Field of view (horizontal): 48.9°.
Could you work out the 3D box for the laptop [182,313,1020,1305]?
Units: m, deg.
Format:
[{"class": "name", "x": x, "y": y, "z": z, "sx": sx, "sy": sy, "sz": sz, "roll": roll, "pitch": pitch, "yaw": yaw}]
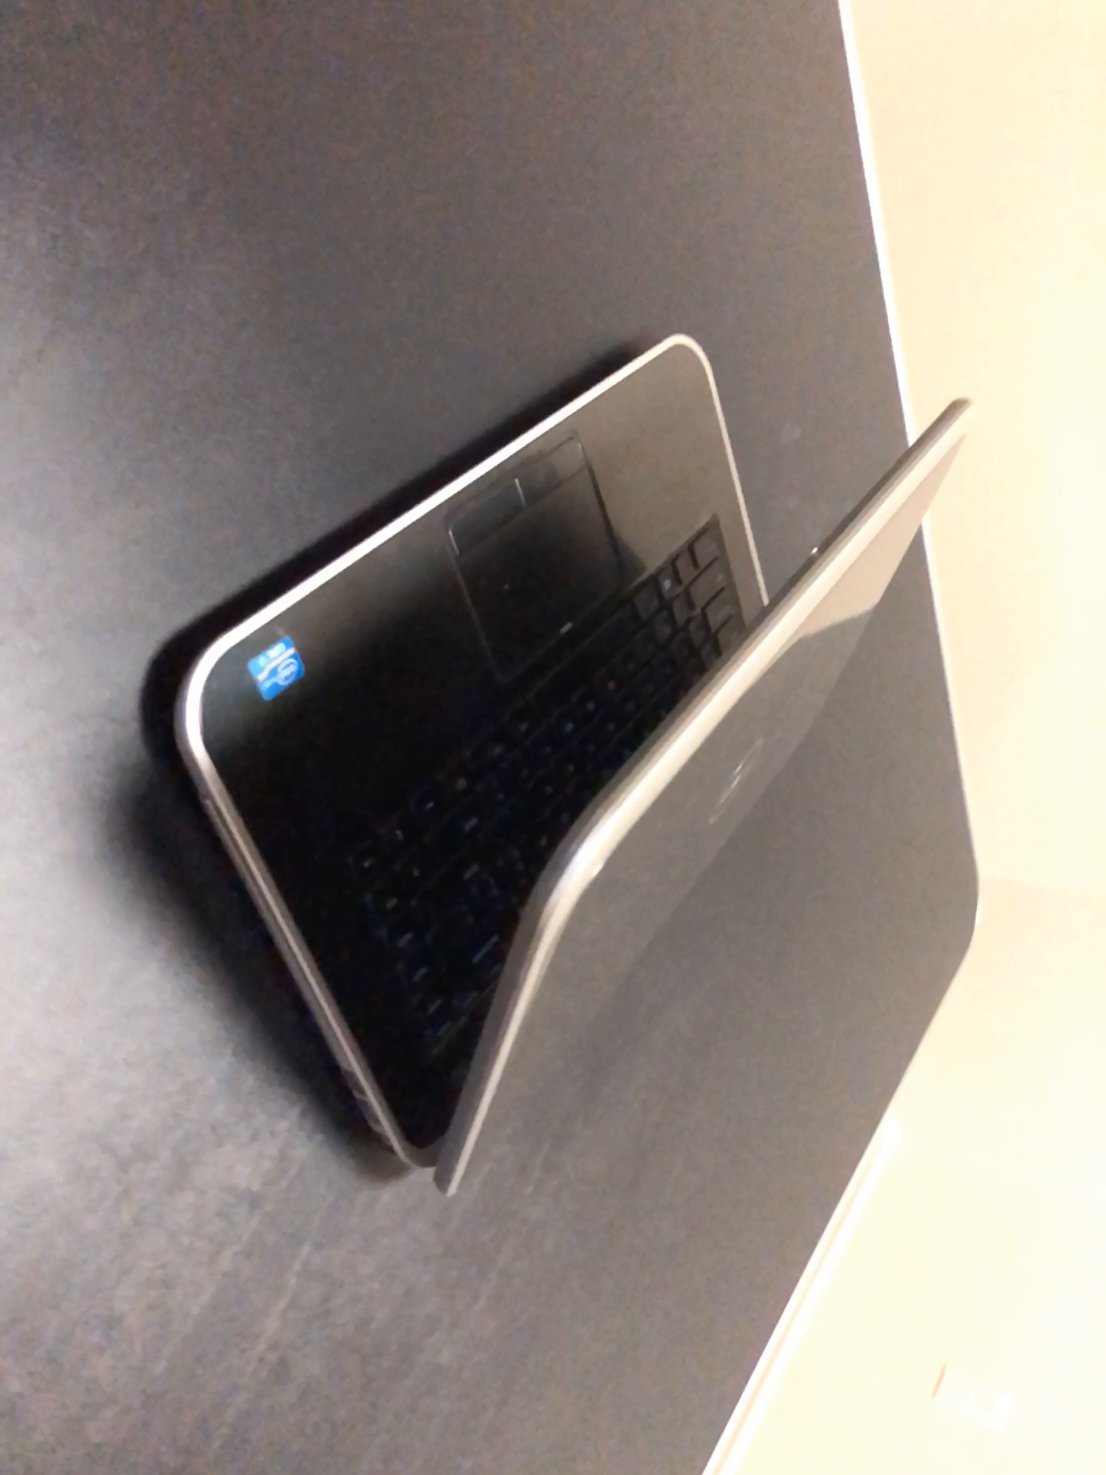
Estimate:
[{"class": "laptop", "x": 0.066, "y": 0.001, "z": 0.530, "sx": 0.357, "sy": 0.137, "sz": 0.240, "roll": -45, "pitch": 127, "yaw": -40}]
